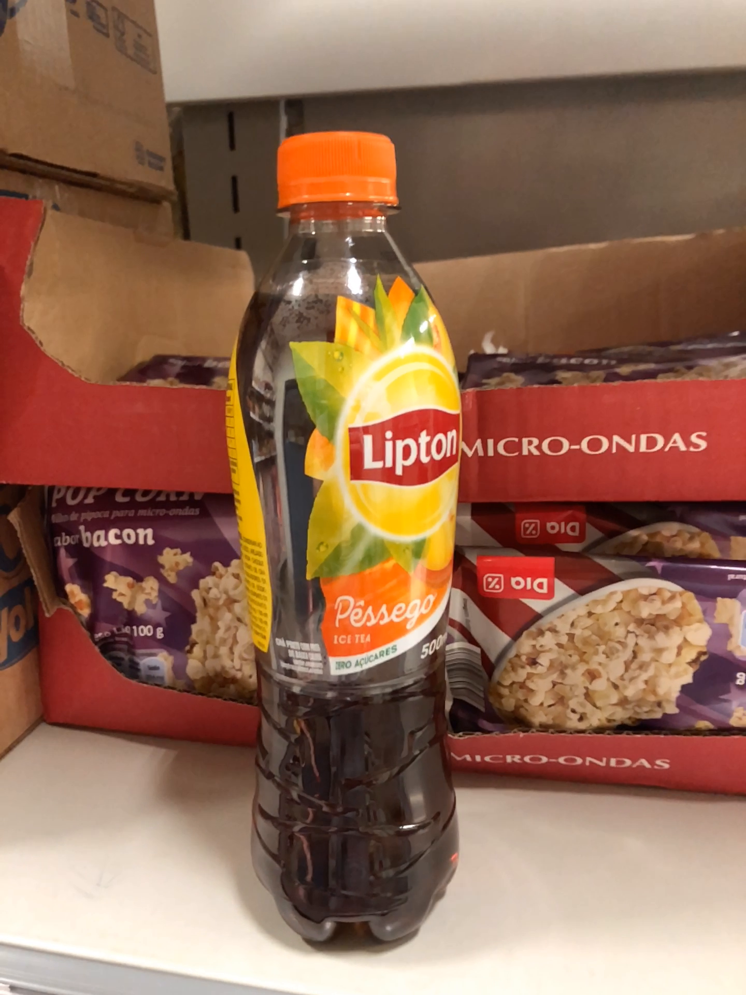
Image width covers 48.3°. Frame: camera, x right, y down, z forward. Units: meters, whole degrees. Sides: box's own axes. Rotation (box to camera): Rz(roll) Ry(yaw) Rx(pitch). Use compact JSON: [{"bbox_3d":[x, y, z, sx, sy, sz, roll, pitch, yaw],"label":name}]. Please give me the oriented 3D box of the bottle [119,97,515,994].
[{"bbox_3d":[-0.012,0.014,0.236,0.070,0.219,0.070,-2,17,1],"label":"bottle"}]
